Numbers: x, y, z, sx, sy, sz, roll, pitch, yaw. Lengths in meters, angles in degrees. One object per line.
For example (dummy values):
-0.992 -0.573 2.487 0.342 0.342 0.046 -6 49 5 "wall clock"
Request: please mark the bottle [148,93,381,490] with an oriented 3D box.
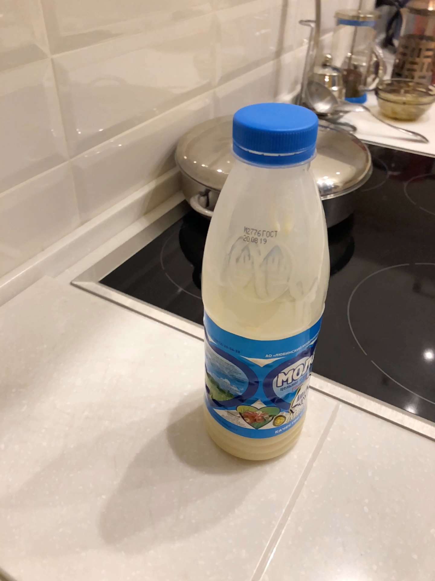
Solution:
0.023 0.010 0.287 0.080 0.213 0.080 1 38 -1 "bottle"
